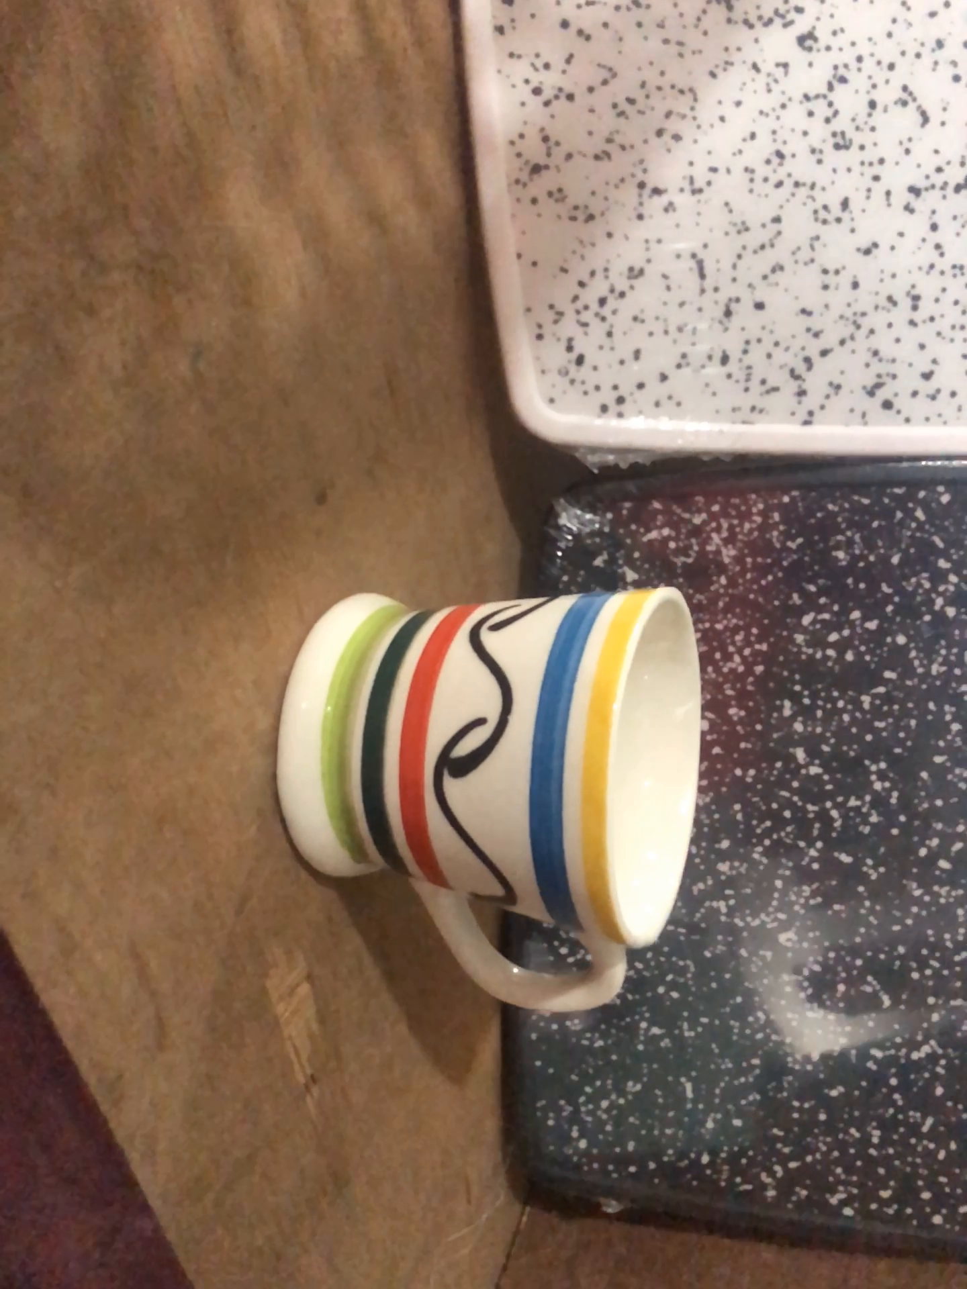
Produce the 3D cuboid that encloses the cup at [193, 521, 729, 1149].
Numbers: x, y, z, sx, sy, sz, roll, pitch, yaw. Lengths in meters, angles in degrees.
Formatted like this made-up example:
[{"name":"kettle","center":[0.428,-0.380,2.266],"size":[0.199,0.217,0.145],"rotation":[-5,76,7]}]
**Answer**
[{"name":"cup","center":[0.002,0.033,0.221],"size":[0.060,0.079,0.100],"rotation":[-45,134,-56]}]
